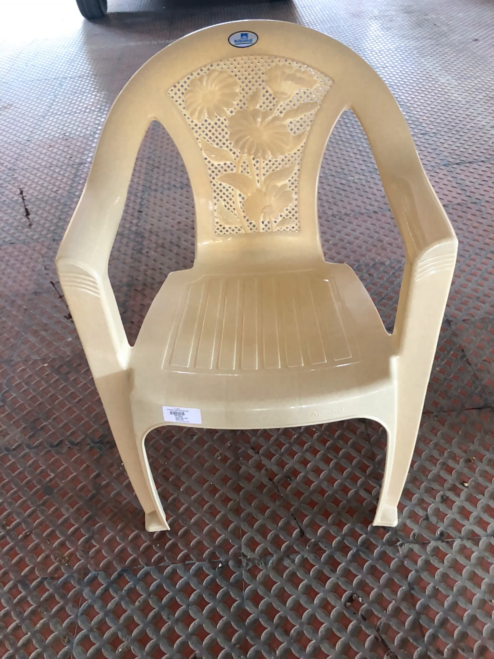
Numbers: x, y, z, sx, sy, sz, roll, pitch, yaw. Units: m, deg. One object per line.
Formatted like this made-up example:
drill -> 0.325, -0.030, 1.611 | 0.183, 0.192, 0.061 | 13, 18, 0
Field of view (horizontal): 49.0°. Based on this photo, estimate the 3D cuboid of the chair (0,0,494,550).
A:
chair -> 0.012, -0.085, 1.019 | 0.530, 0.805, 0.614 | -3, 42, 2
